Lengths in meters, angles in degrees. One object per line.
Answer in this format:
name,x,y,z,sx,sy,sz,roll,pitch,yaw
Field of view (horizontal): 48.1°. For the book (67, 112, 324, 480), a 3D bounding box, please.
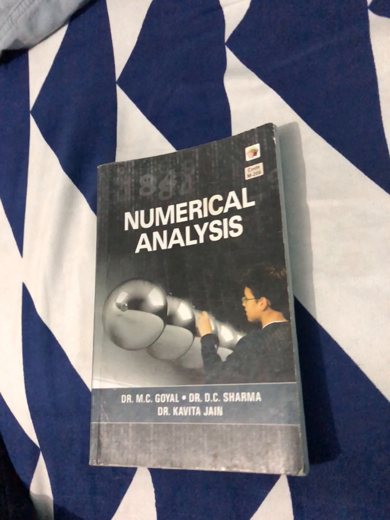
book,-0.007,0.021,0.262,0.140,0.030,0.190,-8,75,22
